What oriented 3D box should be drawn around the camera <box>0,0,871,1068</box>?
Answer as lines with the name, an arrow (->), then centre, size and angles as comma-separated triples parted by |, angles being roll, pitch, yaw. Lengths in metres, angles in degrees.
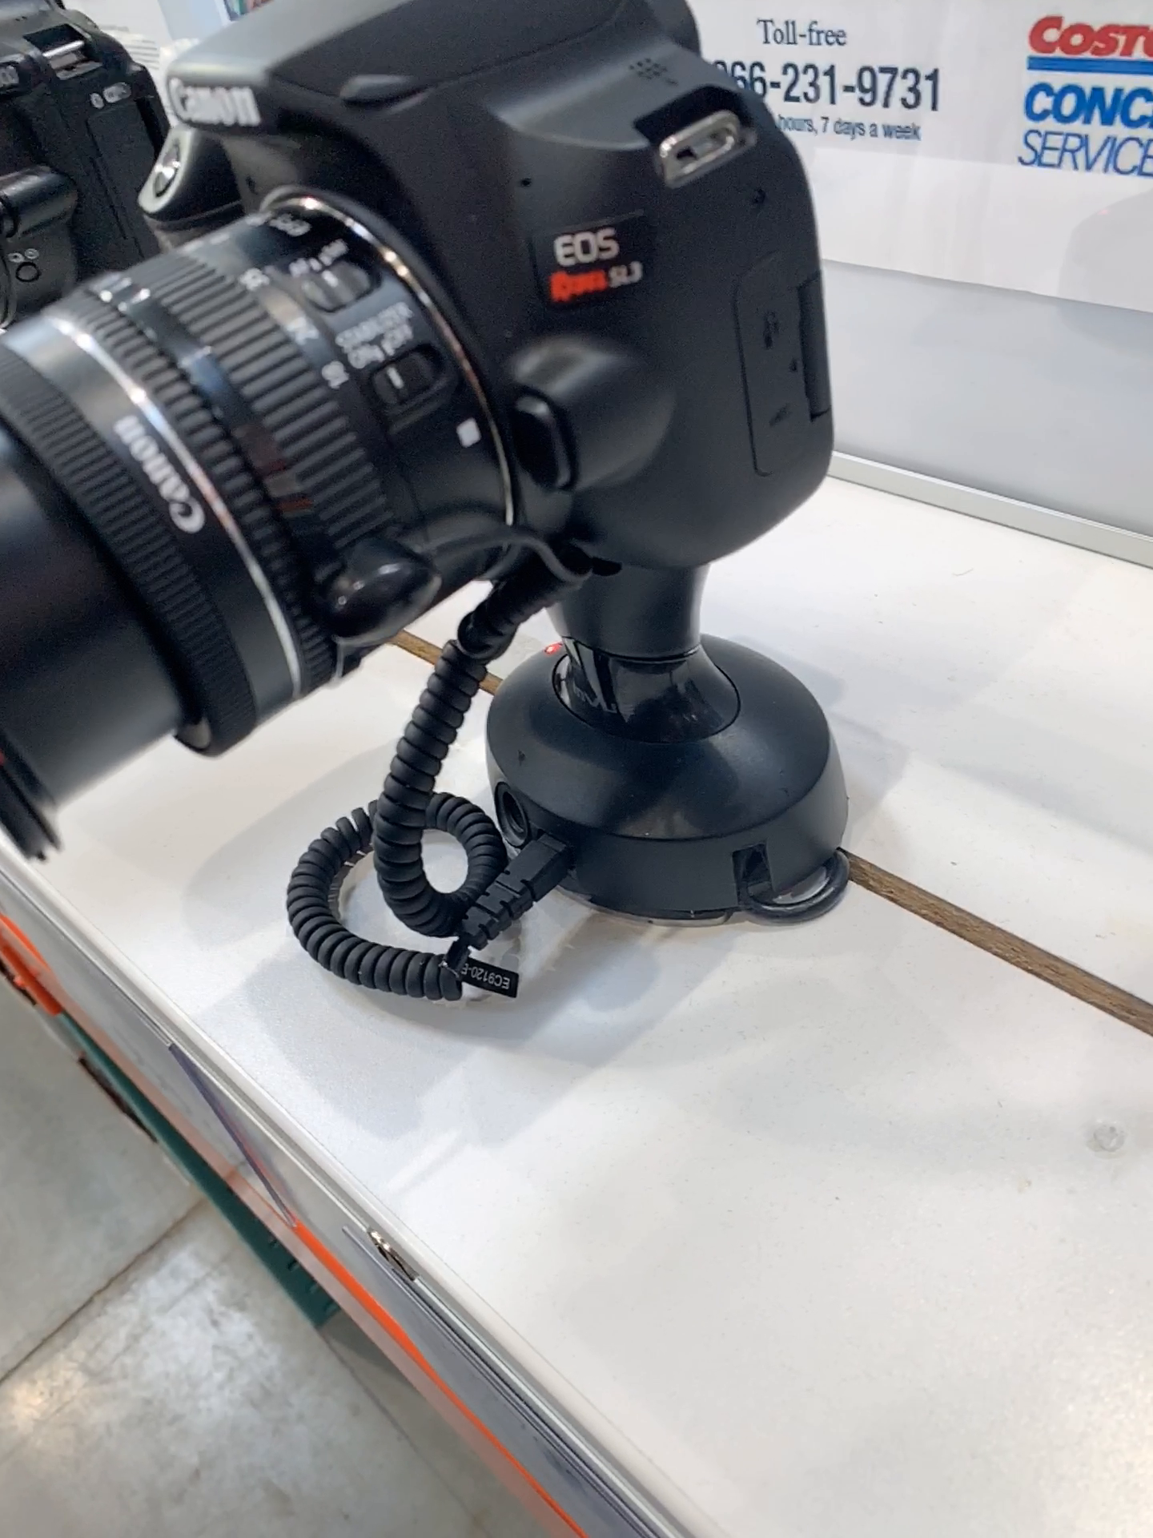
camera -> -0.049, -0.059, 0.171 | 0.120, 0.079, 0.141 | 27, 55, 36
